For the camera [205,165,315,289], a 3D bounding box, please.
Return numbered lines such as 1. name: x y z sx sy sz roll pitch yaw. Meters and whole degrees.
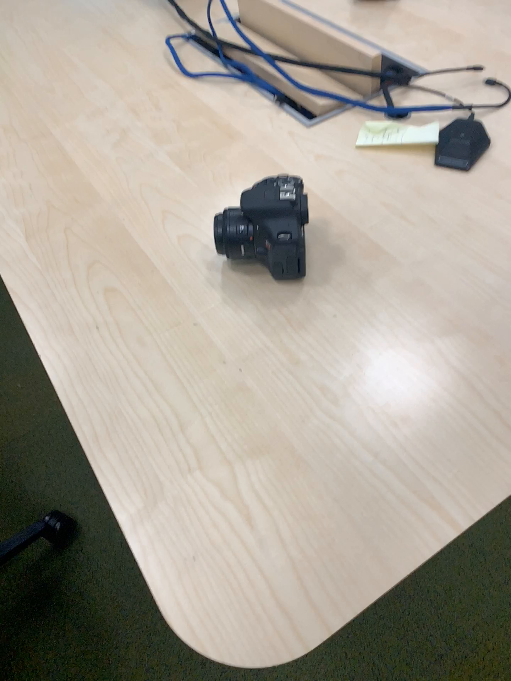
1. camera: 0.008 -0.148 0.680 0.127 0.085 0.130 -3 52 4
